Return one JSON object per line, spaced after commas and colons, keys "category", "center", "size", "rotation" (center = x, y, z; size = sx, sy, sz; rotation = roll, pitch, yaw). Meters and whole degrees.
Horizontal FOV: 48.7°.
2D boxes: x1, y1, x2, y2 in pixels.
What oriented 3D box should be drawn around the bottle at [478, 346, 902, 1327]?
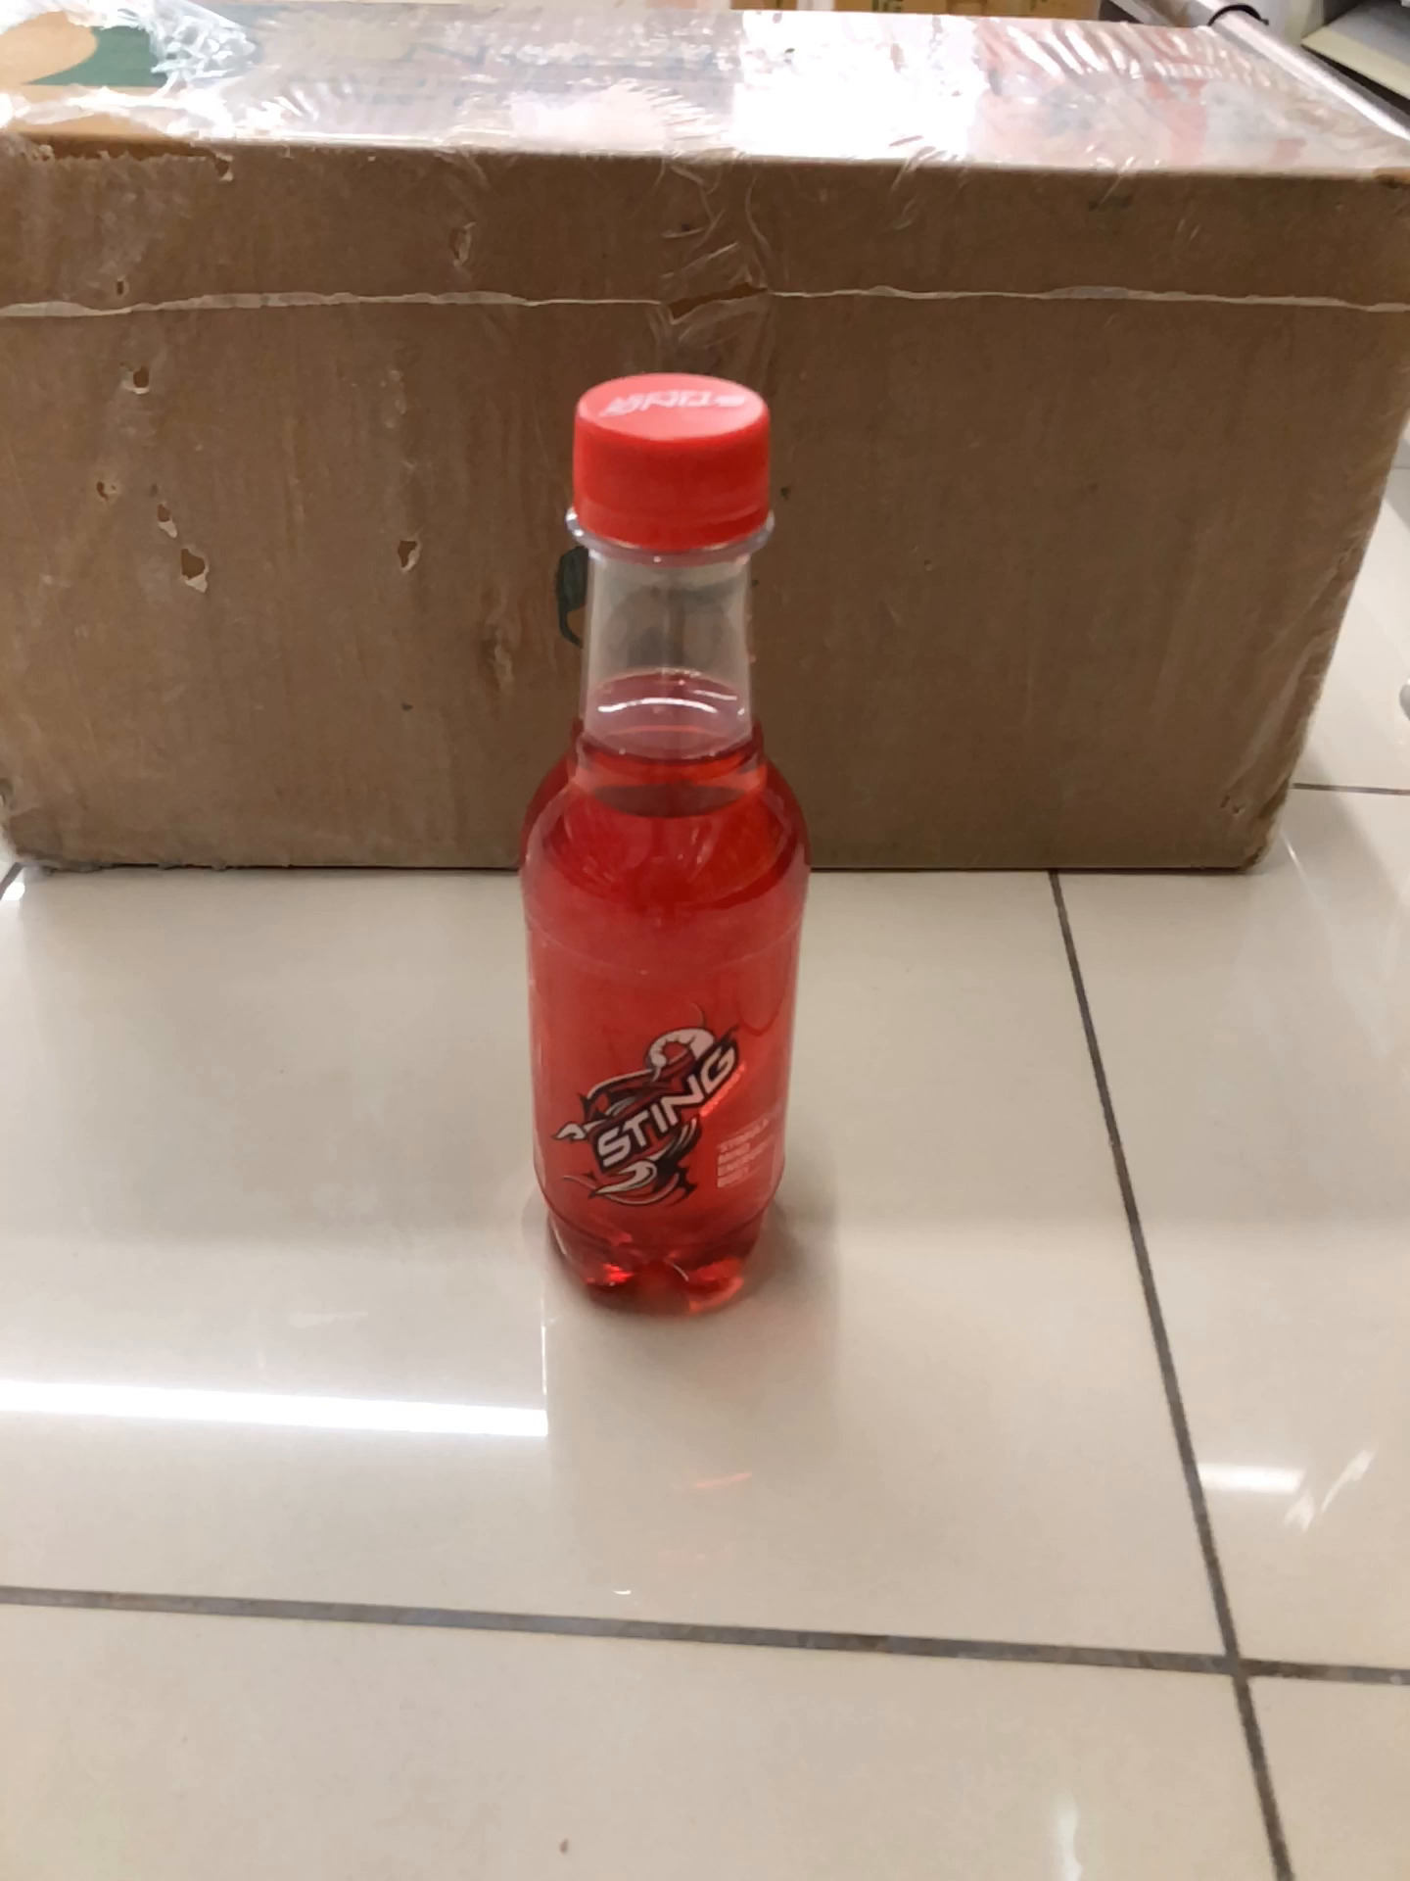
{"category": "bottle", "center": [-0.004, -0.011, 0.297], "size": [0.060, 0.179, 0.060], "rotation": [1, 36, -1]}
